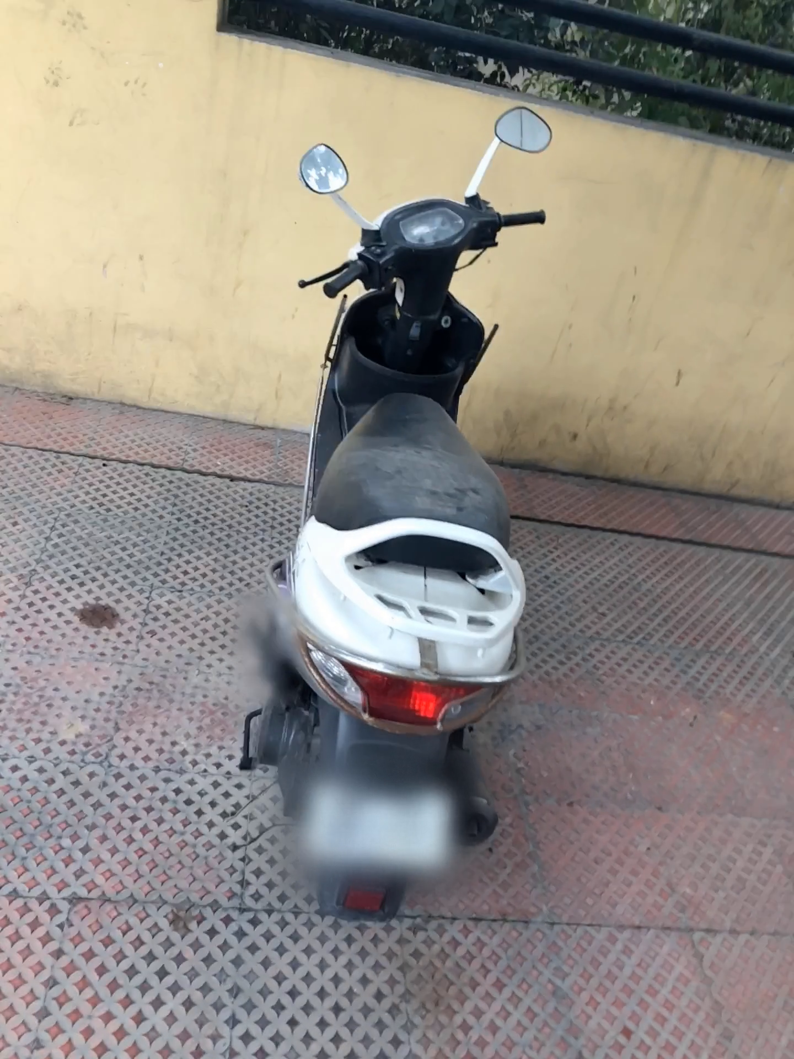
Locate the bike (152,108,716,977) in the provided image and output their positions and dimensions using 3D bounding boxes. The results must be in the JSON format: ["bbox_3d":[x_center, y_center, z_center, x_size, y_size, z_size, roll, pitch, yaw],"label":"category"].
[{"bbox_3d":[-0.058,-0.103,1.881,0.599,1.081,1.482,9,35,-9],"label":"bike"}]
